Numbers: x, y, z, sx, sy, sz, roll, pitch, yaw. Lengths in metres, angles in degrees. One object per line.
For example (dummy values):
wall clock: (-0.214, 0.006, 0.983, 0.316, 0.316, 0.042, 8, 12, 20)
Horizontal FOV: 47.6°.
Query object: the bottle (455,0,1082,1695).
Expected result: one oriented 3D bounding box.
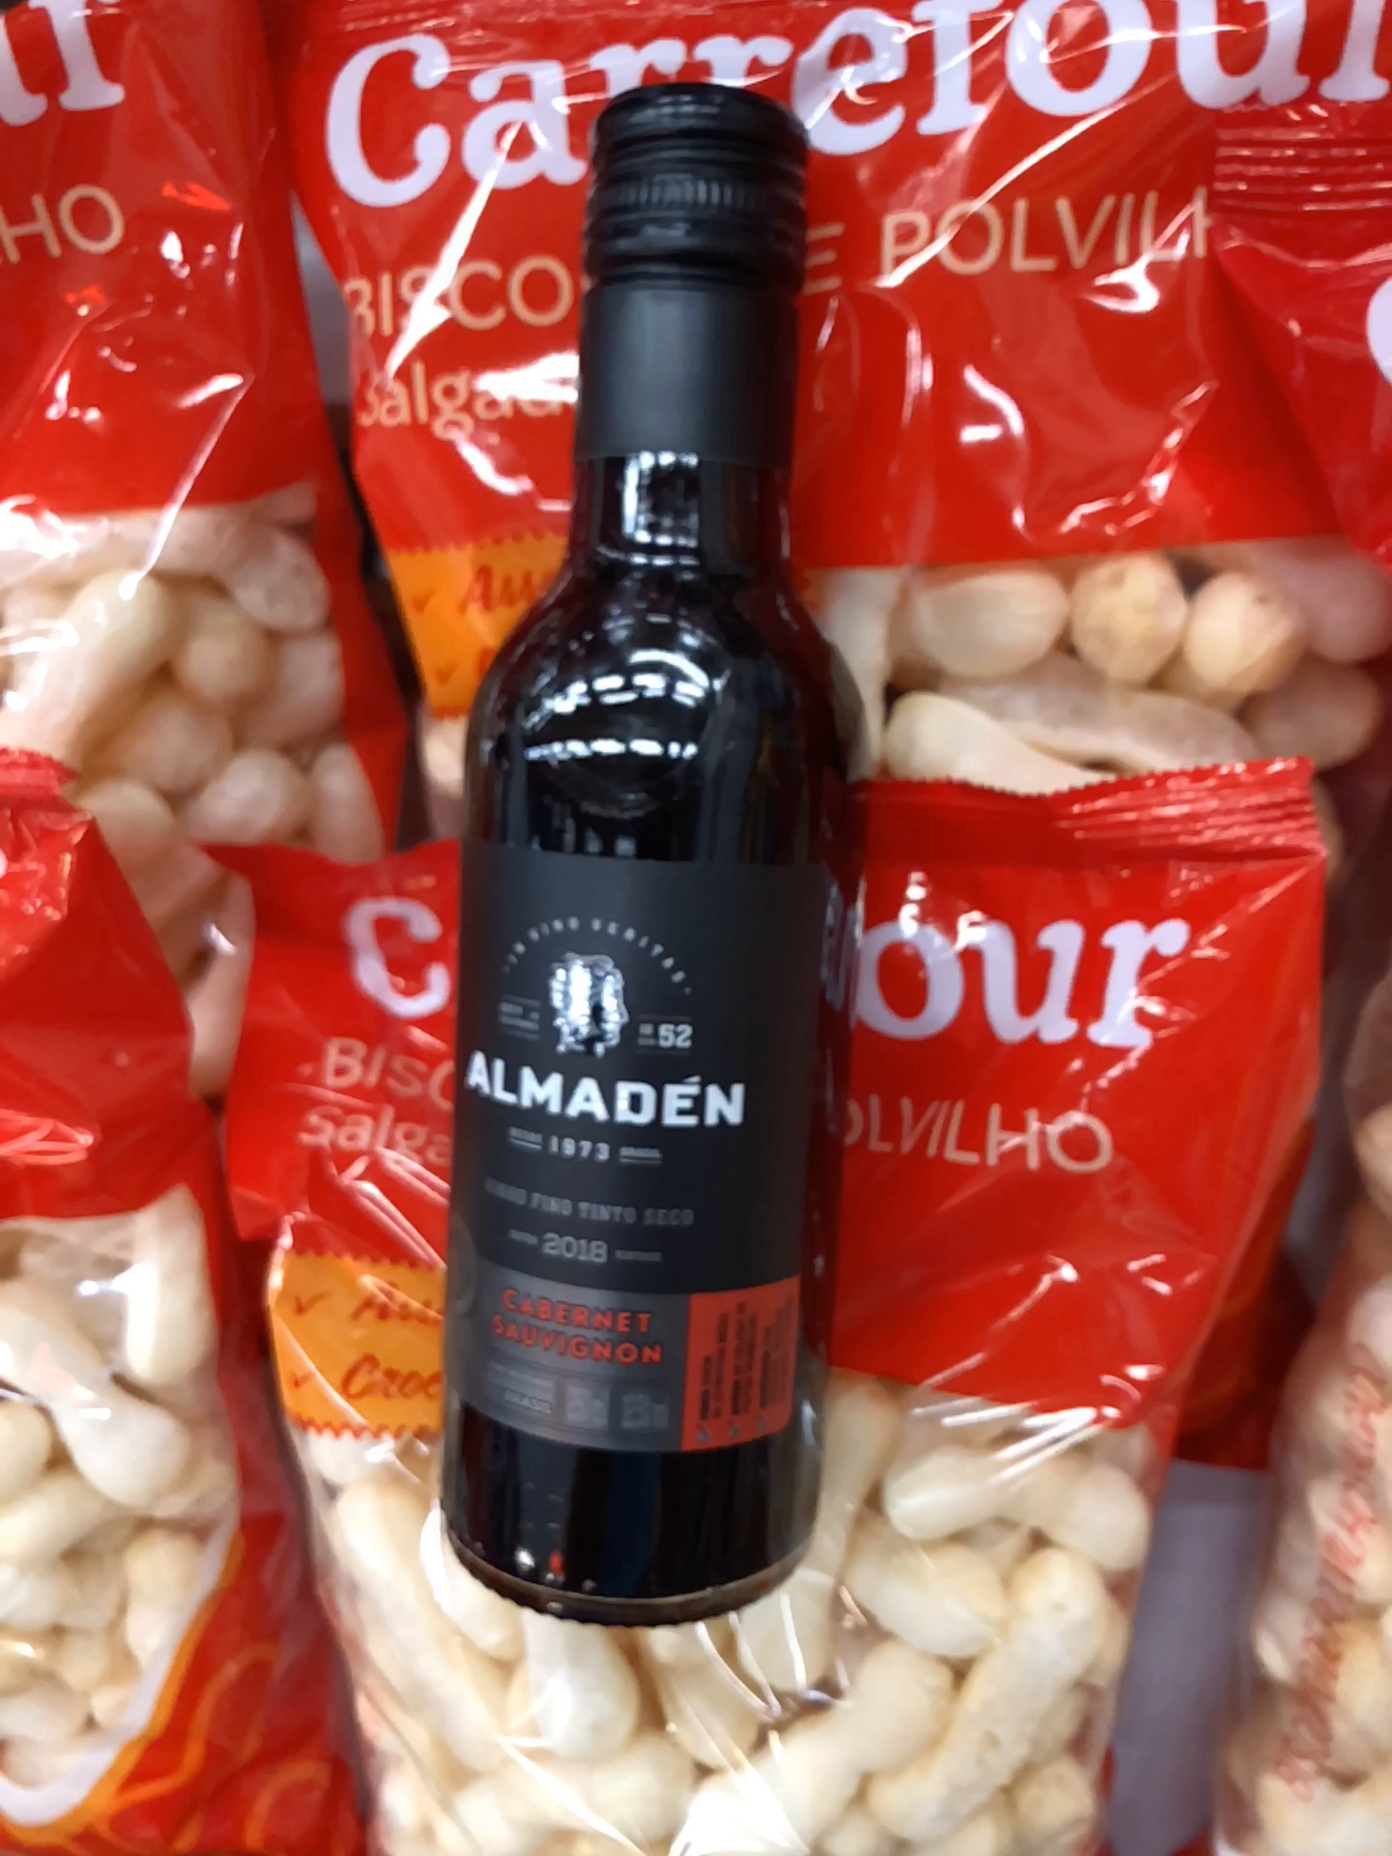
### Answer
bottle: (0.011, -0.014, 0.208, 0.060, 0.050, 0.200, 5, 95, 13)
